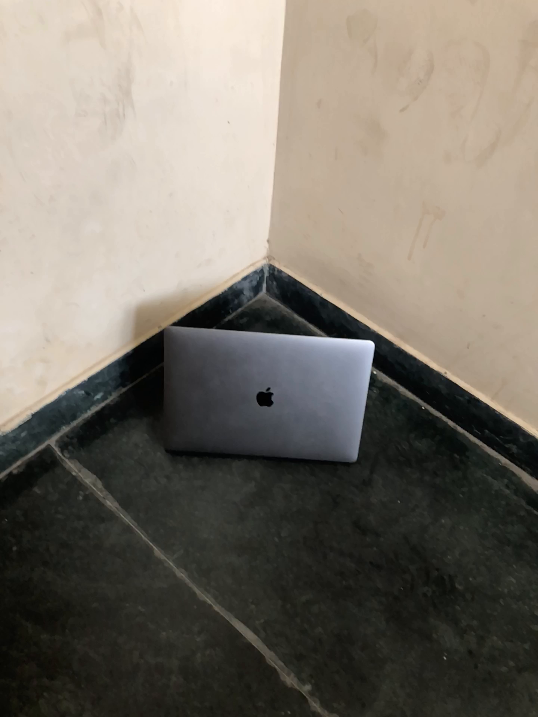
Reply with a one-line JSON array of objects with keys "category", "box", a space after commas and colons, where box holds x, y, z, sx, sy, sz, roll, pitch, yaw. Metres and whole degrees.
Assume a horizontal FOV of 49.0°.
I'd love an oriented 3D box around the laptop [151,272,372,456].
[{"category": "laptop", "box": [-0.013, 0.010, 1.025, 0.329, 0.198, 0.222, 4, 50, 1]}]
